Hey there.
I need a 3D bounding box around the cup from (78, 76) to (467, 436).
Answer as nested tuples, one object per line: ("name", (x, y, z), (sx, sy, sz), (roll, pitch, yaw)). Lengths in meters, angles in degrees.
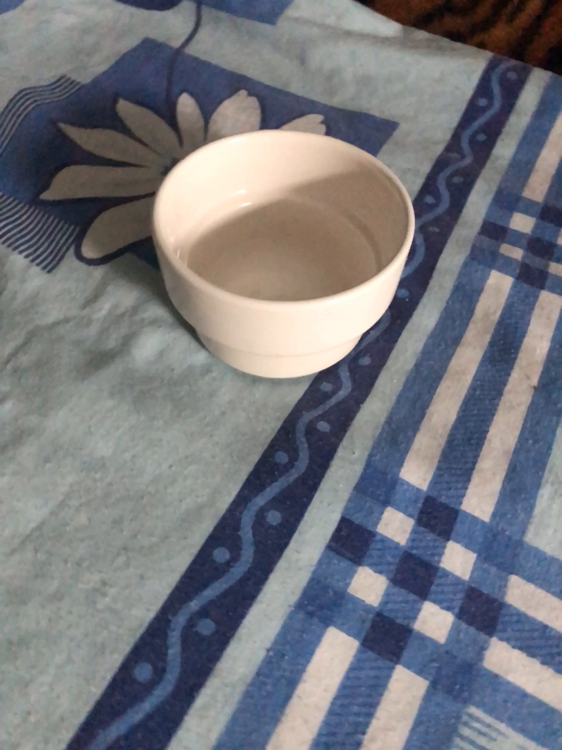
("cup", (-0.003, -0.043, 0.213), (0.091, 0.047, 0.077), (35, 64, 17))
